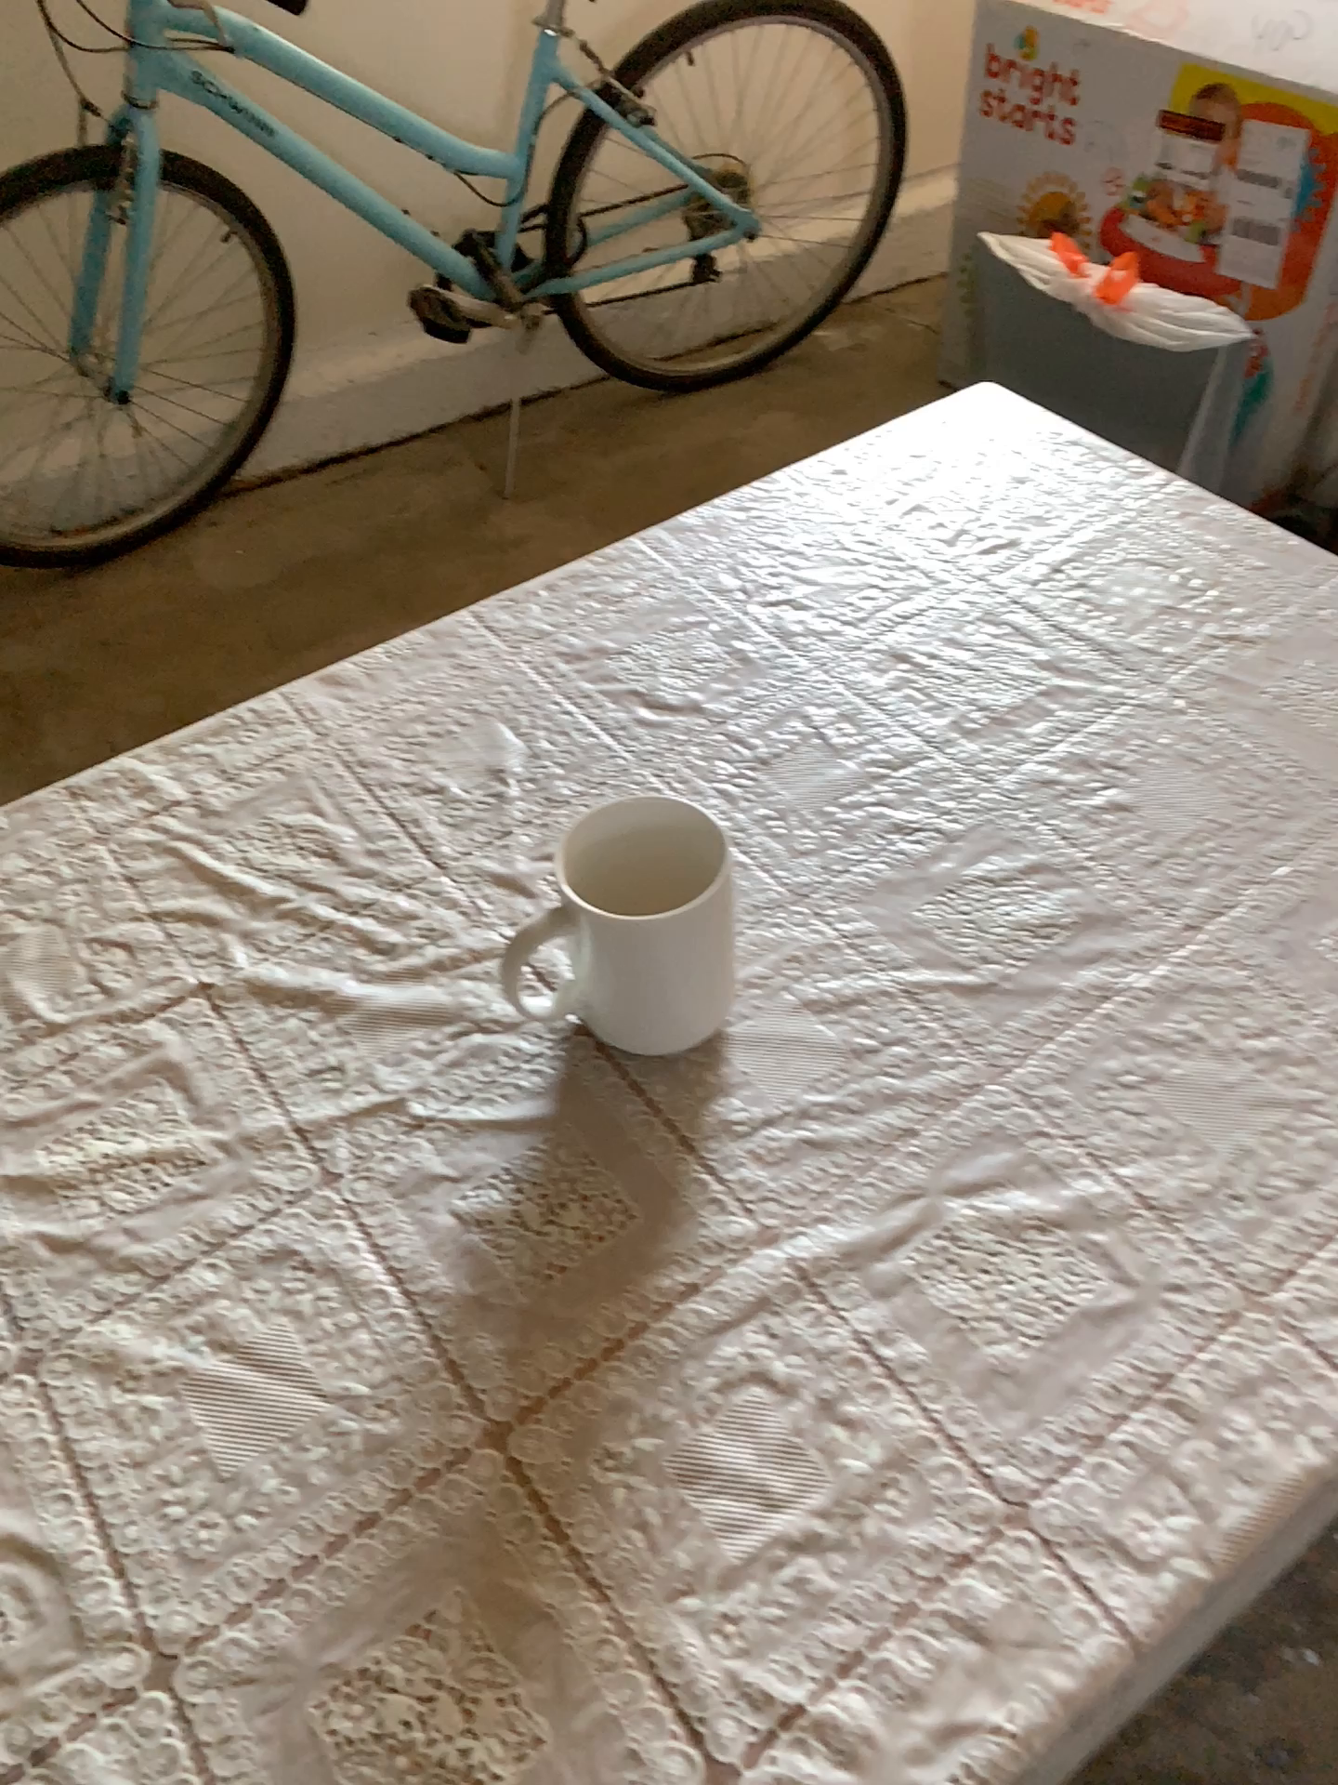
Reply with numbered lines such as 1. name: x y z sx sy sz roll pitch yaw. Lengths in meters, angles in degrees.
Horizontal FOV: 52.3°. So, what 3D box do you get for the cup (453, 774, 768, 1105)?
1. cup: -0.026 0.022 0.651 0.120 0.090 0.090 -18 50 -12
